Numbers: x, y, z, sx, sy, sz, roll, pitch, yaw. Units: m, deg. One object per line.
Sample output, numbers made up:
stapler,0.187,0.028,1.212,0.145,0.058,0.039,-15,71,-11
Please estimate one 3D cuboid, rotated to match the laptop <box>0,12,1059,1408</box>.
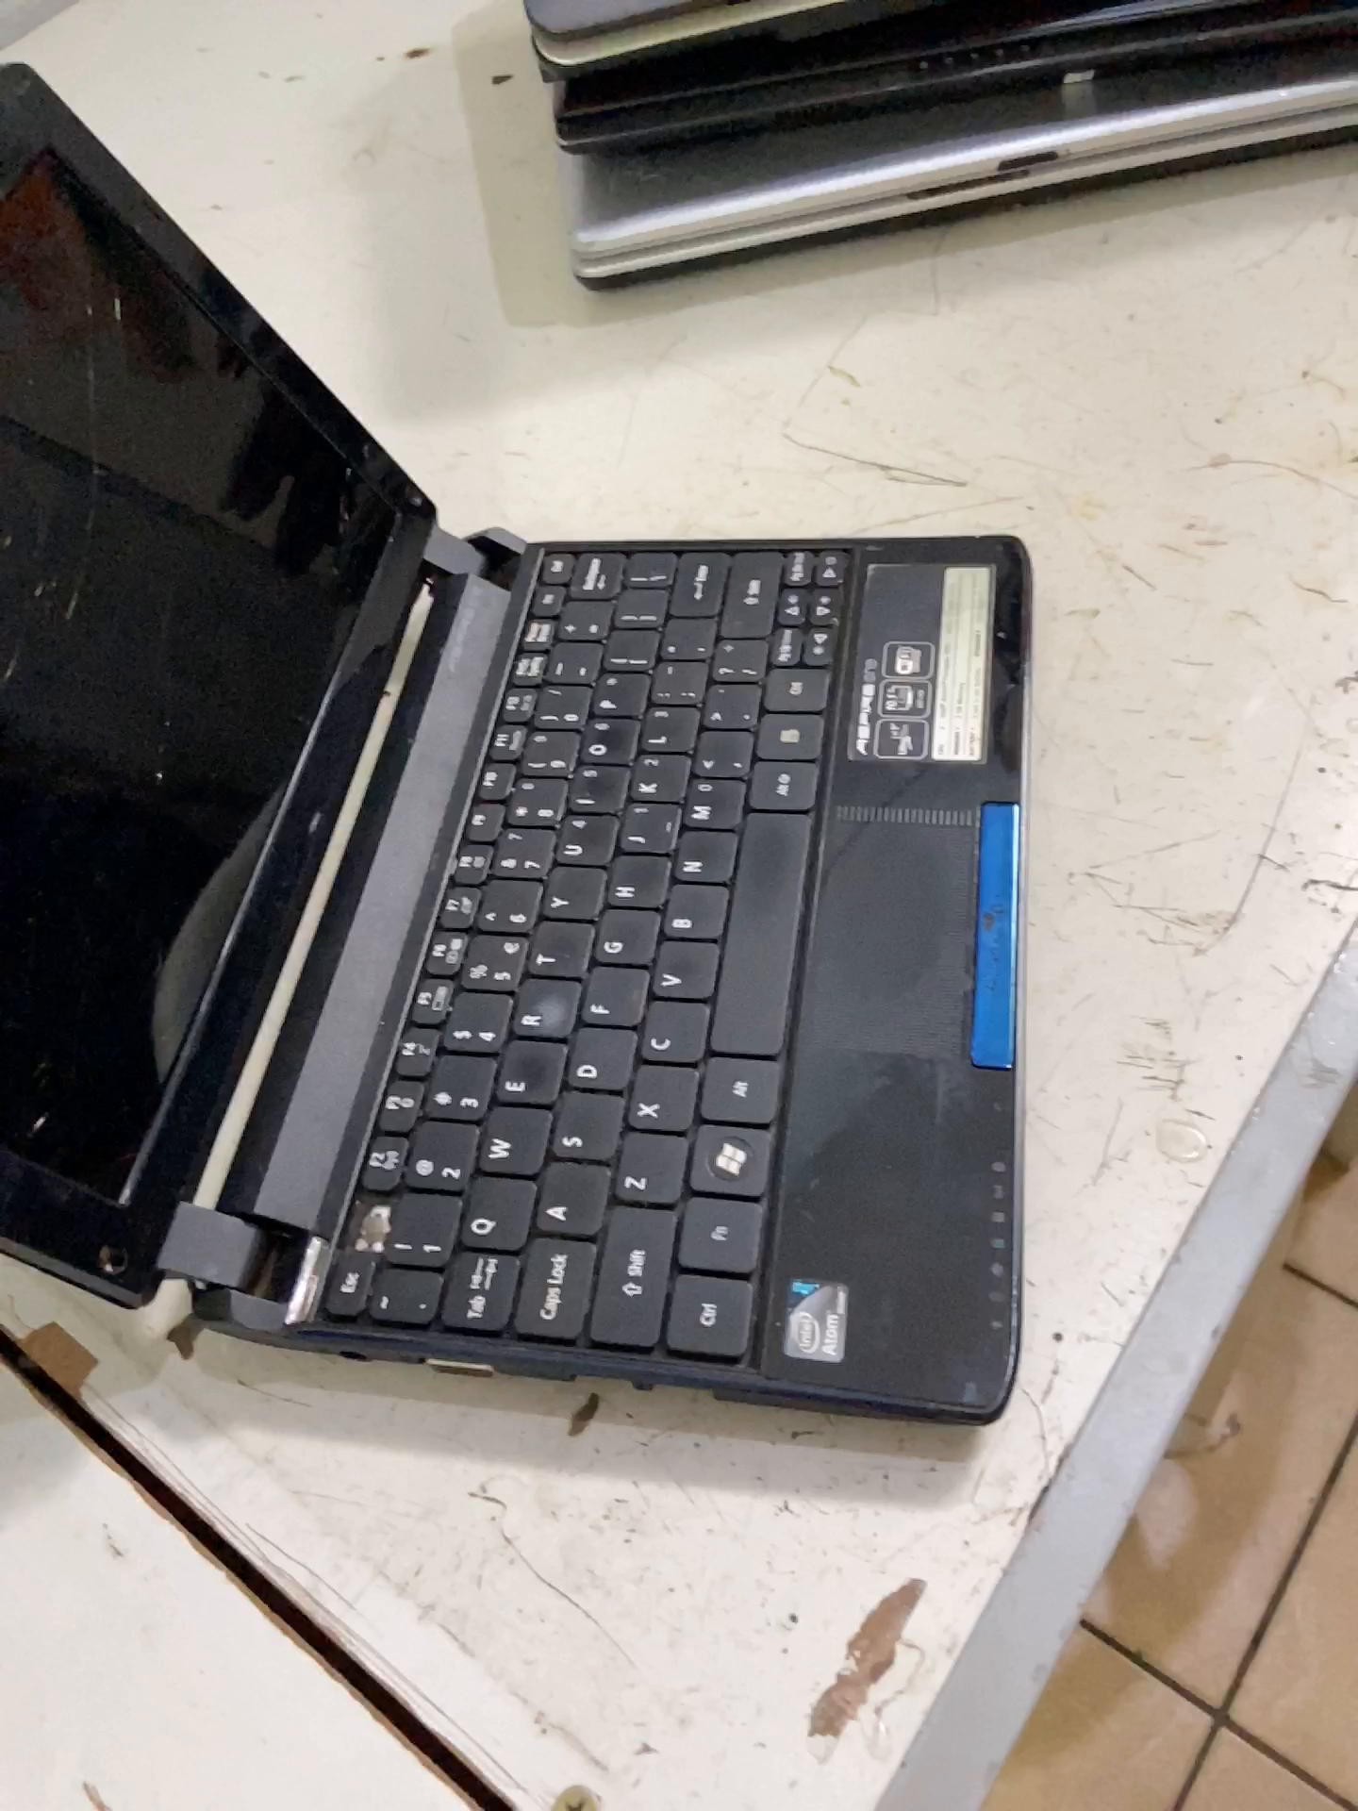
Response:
laptop,-0.055,-0.054,0.310,0.259,0.145,0.253,3,56,11
